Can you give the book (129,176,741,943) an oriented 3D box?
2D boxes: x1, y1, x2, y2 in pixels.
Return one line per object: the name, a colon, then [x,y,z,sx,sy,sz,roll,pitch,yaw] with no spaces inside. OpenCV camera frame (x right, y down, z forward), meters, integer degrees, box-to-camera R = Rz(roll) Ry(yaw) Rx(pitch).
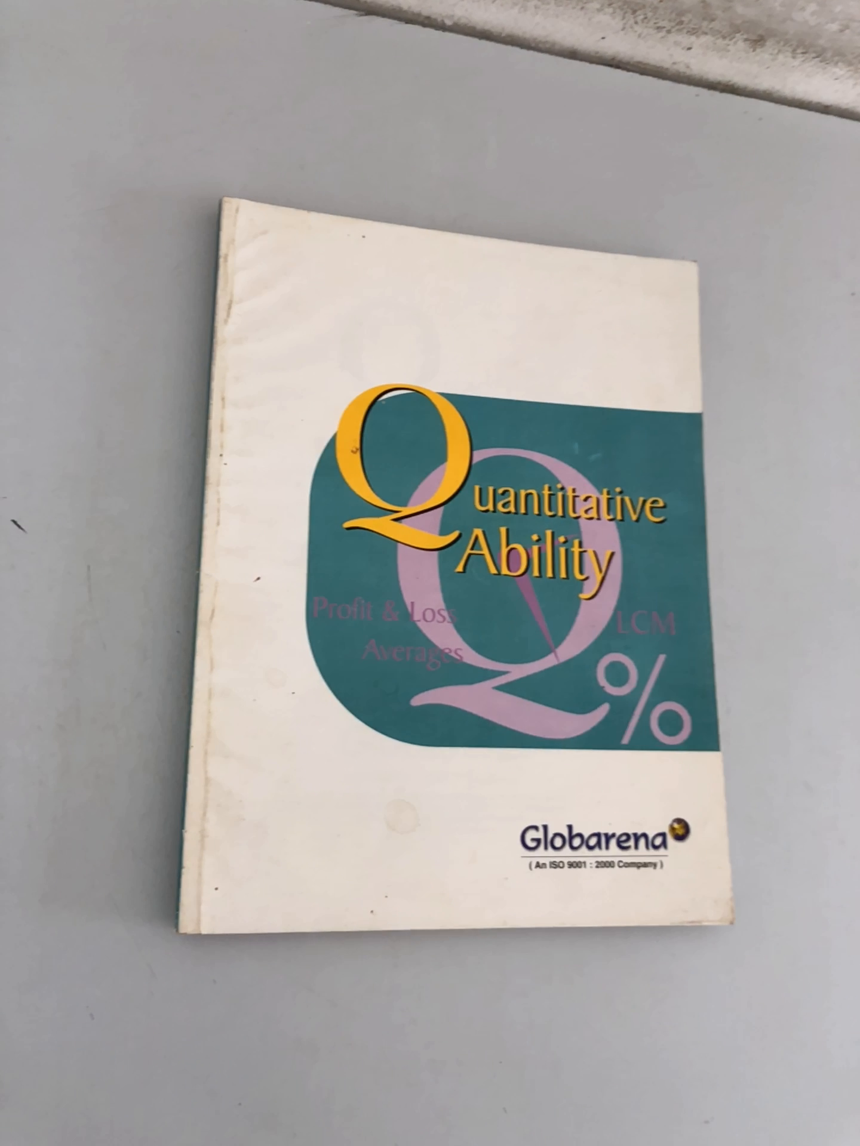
book: [0.007,-0.006,0.324,0.190,0.020,0.240,3,78,-13]
